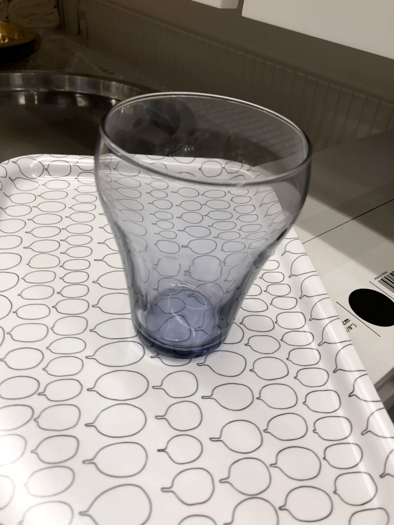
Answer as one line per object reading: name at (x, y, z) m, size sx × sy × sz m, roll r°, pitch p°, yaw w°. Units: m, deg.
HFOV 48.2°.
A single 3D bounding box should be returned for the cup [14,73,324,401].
cup at (-0.006, -0.018, 0.178) m, size 0.080 × 0.080 × 0.090 m, roll 18°, pitch 37°, yaw 12°
